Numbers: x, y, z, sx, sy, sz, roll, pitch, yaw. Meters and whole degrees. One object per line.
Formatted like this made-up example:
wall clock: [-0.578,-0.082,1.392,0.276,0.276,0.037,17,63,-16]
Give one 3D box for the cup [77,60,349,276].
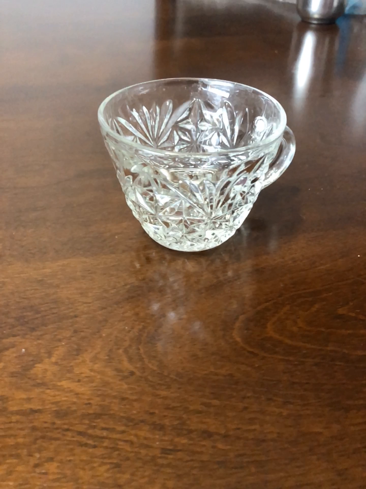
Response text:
cup: [0.010,-0.043,0.202,0.100,0.060,0.070,-15,42,-16]
